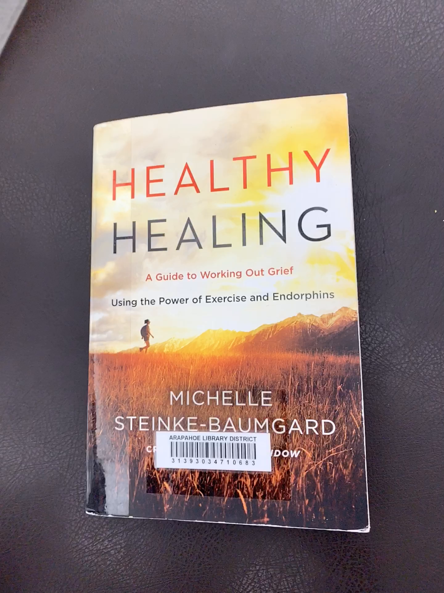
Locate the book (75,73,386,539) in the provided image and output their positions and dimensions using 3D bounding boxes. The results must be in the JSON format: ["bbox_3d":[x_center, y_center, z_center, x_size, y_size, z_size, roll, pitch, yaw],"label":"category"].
[{"bbox_3d":[0.001,0.001,0.234,0.140,0.028,0.212,-2,82,10],"label":"book"}]
